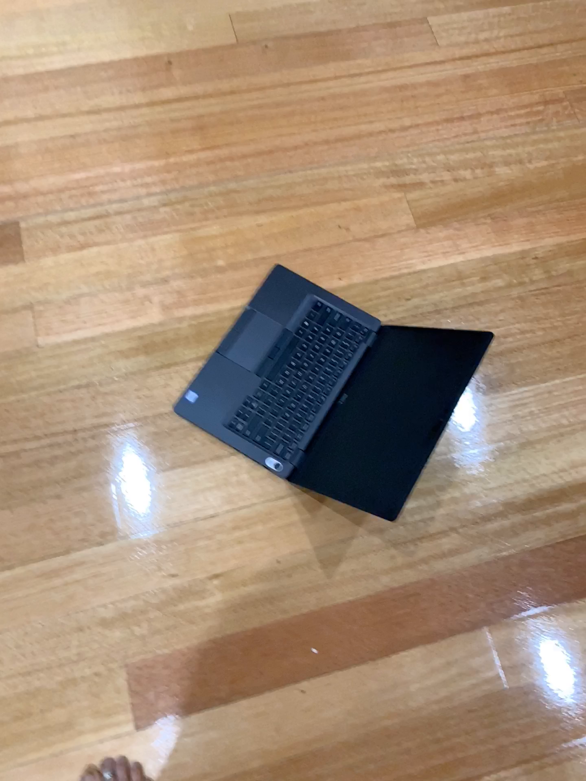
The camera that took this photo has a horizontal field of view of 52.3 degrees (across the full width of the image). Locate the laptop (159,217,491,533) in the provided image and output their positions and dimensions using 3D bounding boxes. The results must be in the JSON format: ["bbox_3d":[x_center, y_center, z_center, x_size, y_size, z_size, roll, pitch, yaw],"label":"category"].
[{"bbox_3d":[0.050,-0.027,0.920,0.372,0.134,0.321,30,71,8],"label":"laptop"}]
